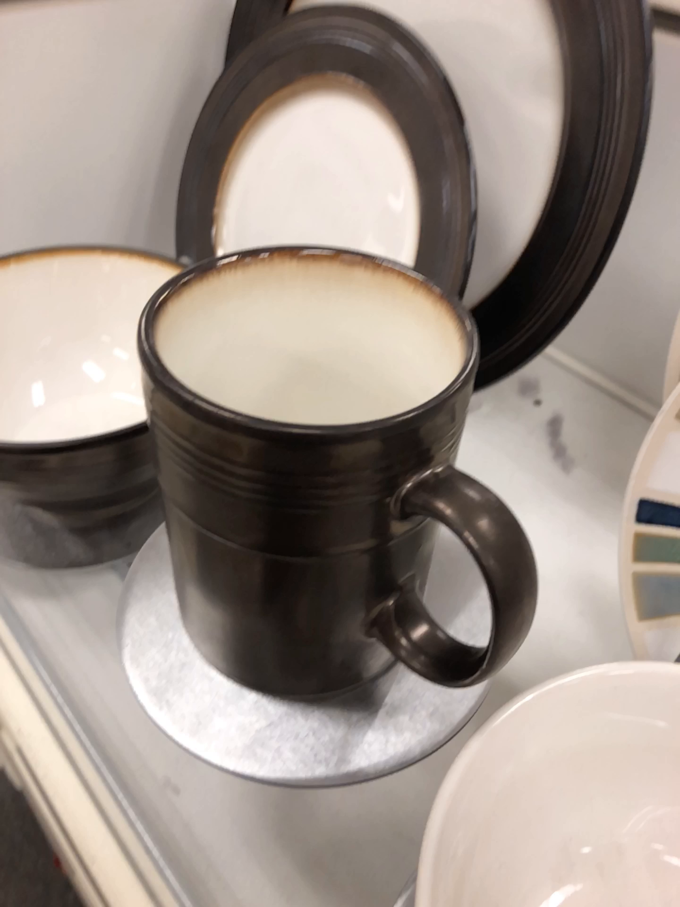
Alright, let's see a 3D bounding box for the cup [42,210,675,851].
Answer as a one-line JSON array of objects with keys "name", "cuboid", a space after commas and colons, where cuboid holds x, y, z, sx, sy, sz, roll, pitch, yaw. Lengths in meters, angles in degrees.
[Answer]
[{"name": "cup", "cuboid": [0.000, 0.013, 0.208, 0.119, 0.102, 0.083, 31, 48, 26]}]
